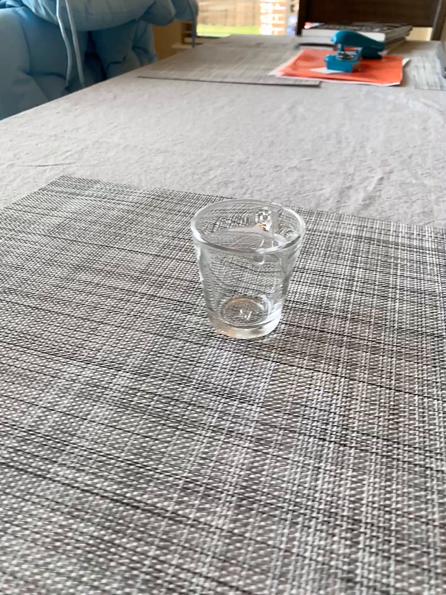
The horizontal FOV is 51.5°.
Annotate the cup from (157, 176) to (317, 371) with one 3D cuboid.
[{"bbox_3d":[0.011,-0.017,0.248,0.058,0.060,0.083,11,40,15],"label":"cup"}]
